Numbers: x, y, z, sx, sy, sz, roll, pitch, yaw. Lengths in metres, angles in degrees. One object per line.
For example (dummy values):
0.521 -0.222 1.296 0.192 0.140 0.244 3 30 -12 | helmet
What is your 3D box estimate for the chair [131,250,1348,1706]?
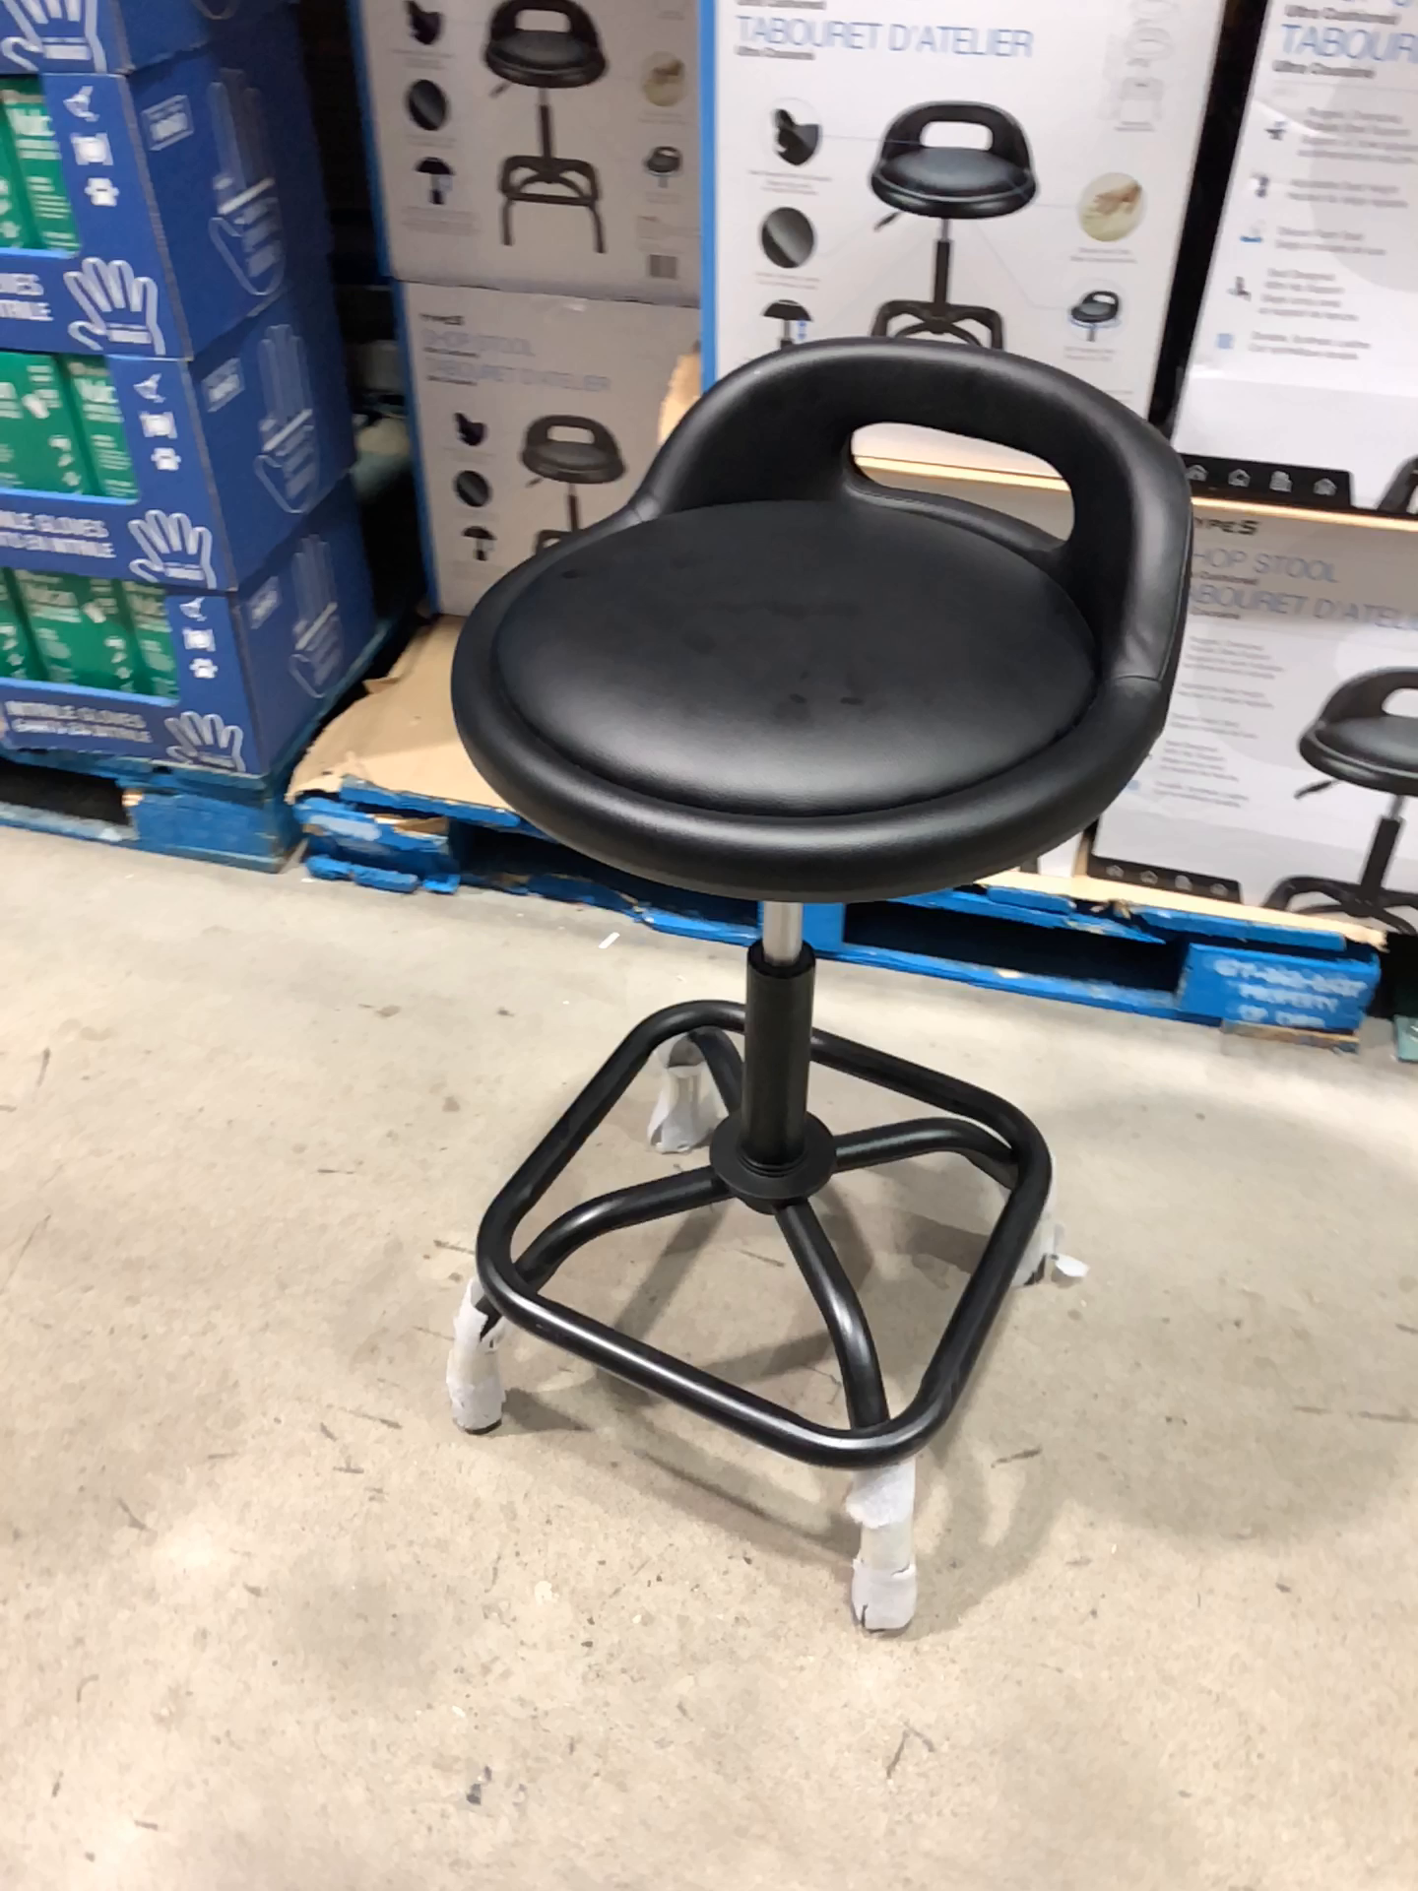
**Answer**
0.048 0.014 1.081 0.481 0.747 0.511 19 43 20 | chair
